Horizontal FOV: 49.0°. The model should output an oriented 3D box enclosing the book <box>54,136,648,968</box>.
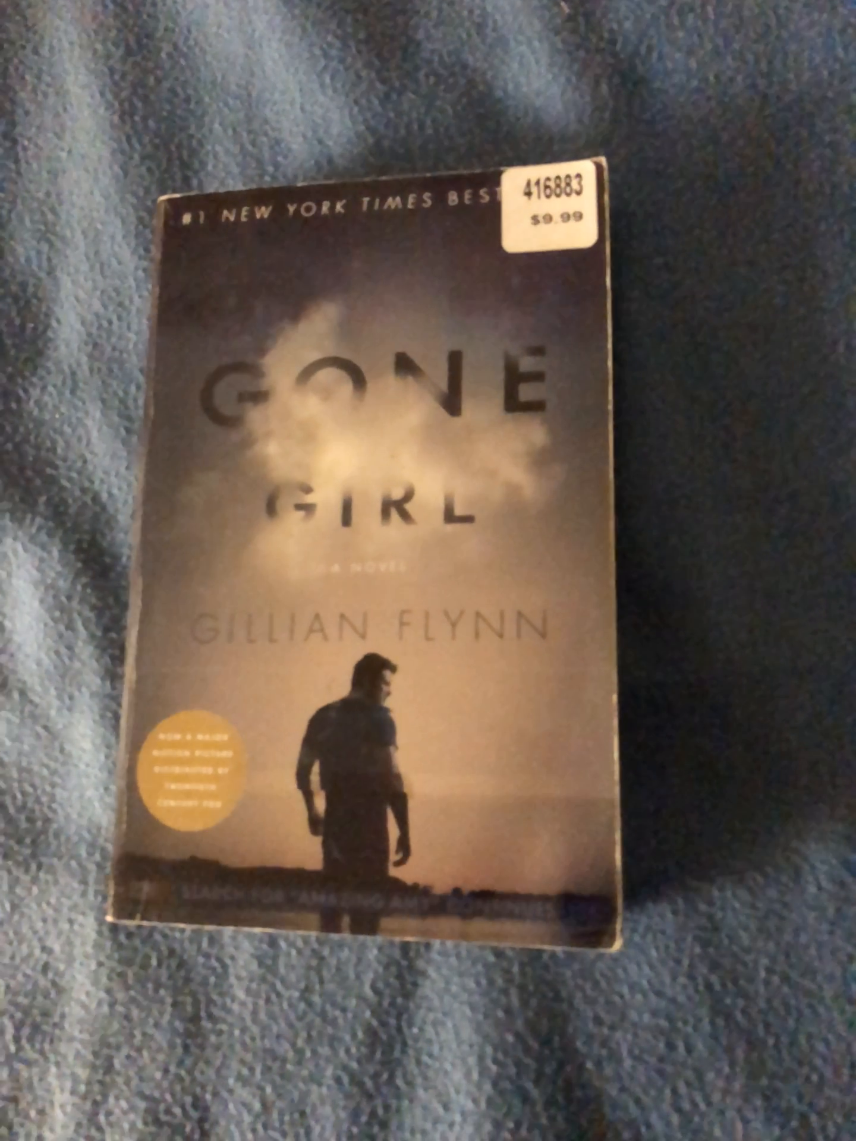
[{"bbox_3d":[-0.017,-0.008,0.252,0.140,0.040,0.200,-1,80,9],"label":"book"}]
